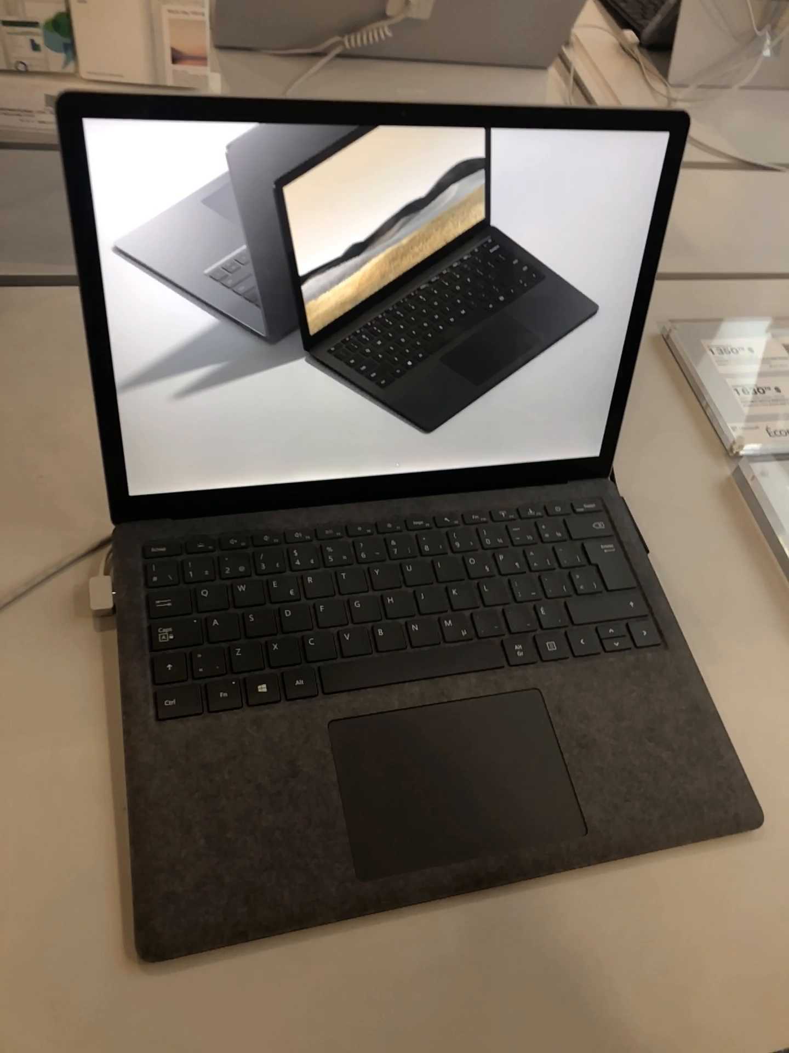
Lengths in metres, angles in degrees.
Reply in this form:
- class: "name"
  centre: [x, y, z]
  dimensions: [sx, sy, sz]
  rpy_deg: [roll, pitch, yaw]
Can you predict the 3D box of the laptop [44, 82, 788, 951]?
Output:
- class: "laptop"
  centre: [0.018, -0.019, 0.396]
  dimensions: [0.297, 0.197, 0.295]
  rpy_deg: [-6, 56, -15]
